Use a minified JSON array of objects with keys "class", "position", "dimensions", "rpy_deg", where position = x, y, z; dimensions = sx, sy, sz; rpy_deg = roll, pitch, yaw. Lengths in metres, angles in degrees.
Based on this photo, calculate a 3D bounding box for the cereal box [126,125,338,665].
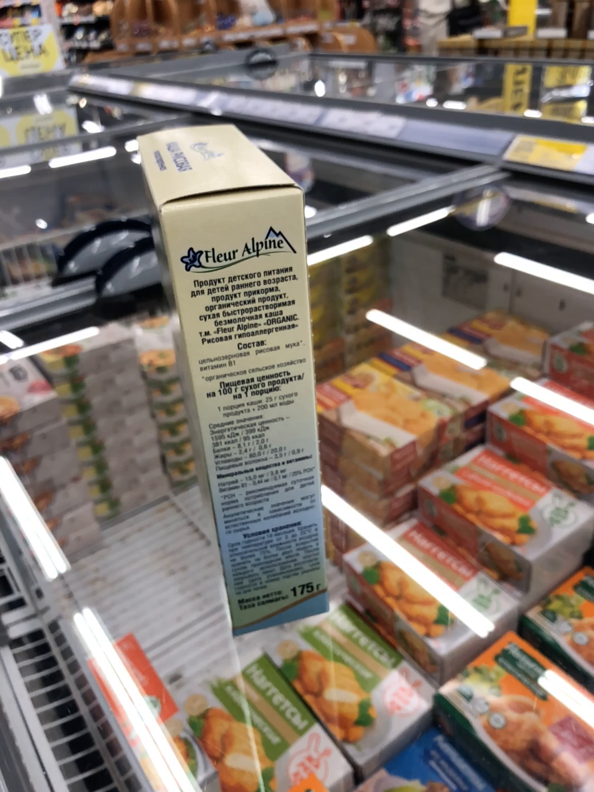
[{"class":"cereal box","position":[-0.031,-0.005,0.305],"dimensions":[0.050,0.199,0.141],"rpy_deg":[-11,31,-10]}]
